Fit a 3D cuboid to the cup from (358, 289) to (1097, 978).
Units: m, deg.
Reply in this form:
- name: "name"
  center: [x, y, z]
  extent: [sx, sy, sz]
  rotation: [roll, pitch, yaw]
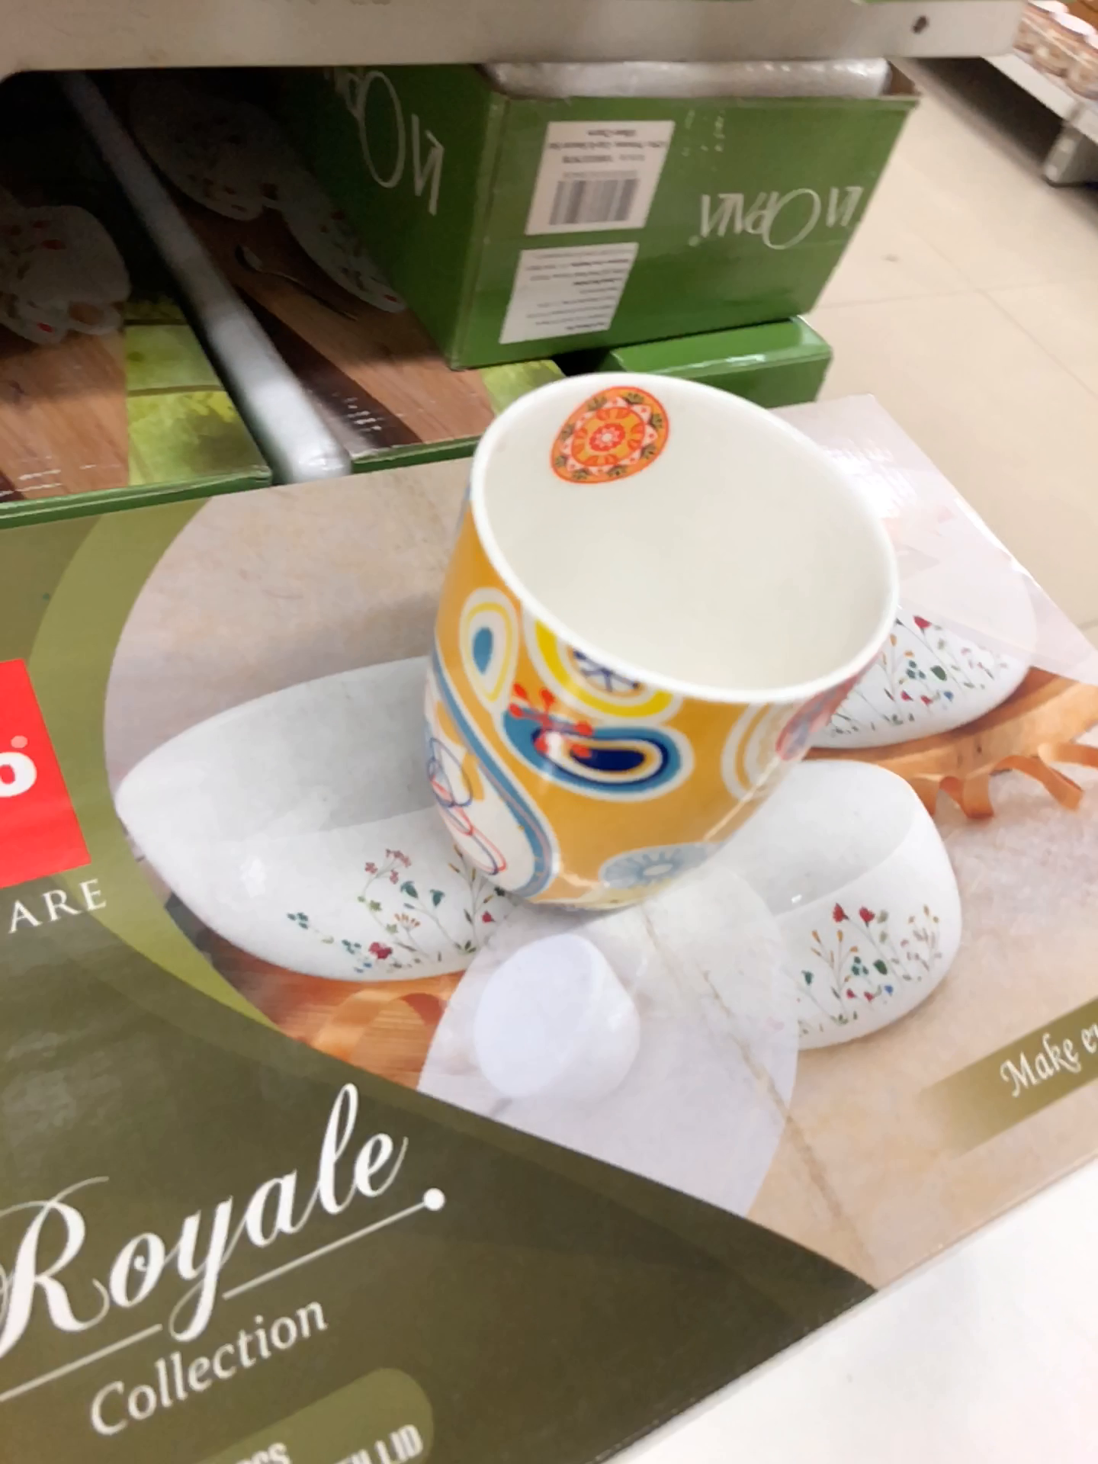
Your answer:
- name: "cup"
  center: [0.035, -0.022, 0.246]
  extent: [0.120, 0.089, 0.090]
  rotation: [-6, 54, -21]
